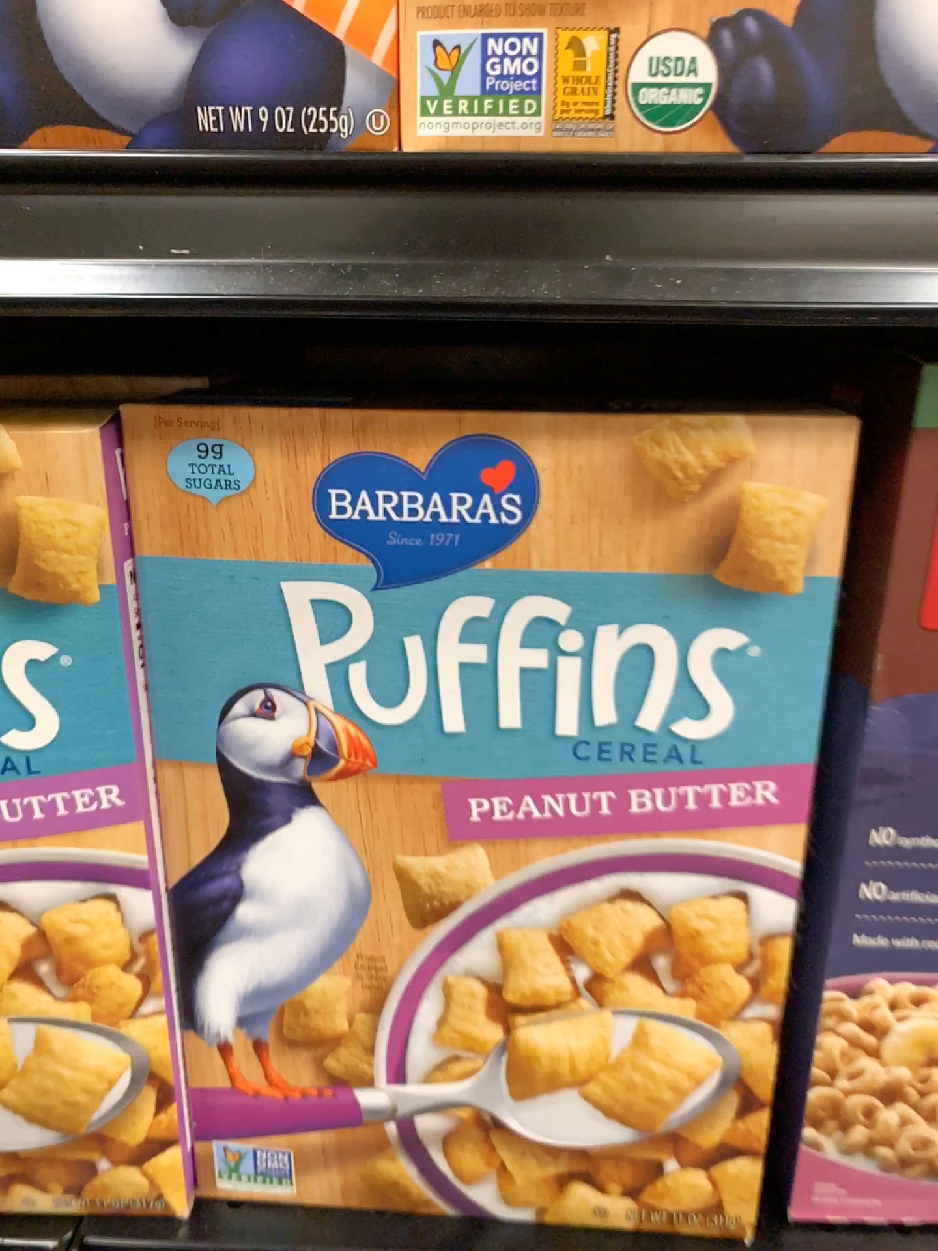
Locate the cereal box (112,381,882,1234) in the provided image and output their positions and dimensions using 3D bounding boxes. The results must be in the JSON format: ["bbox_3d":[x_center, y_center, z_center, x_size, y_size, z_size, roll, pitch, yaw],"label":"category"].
[{"bbox_3d":[0.005,0.056,0.319,0.200,0.259,0.070,2,14,4],"label":"cereal box"}]
